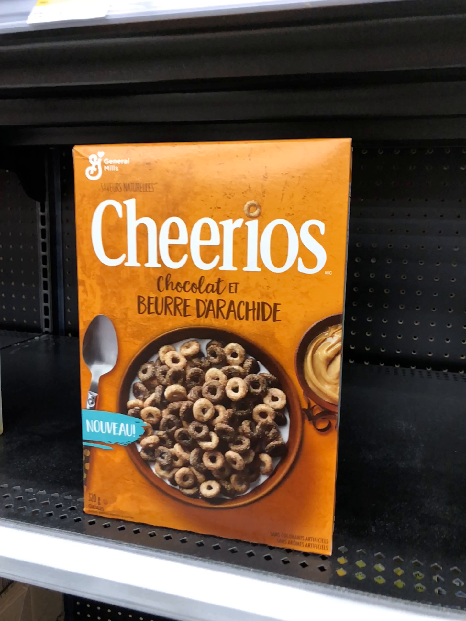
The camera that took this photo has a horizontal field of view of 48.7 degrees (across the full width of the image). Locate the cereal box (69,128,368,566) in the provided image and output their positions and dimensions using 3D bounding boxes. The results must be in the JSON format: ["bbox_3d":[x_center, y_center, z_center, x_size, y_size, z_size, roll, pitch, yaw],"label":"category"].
[{"bbox_3d":[-0.012,0.022,0.384,0.200,0.289,0.060,4,10,14],"label":"cereal box"}]
